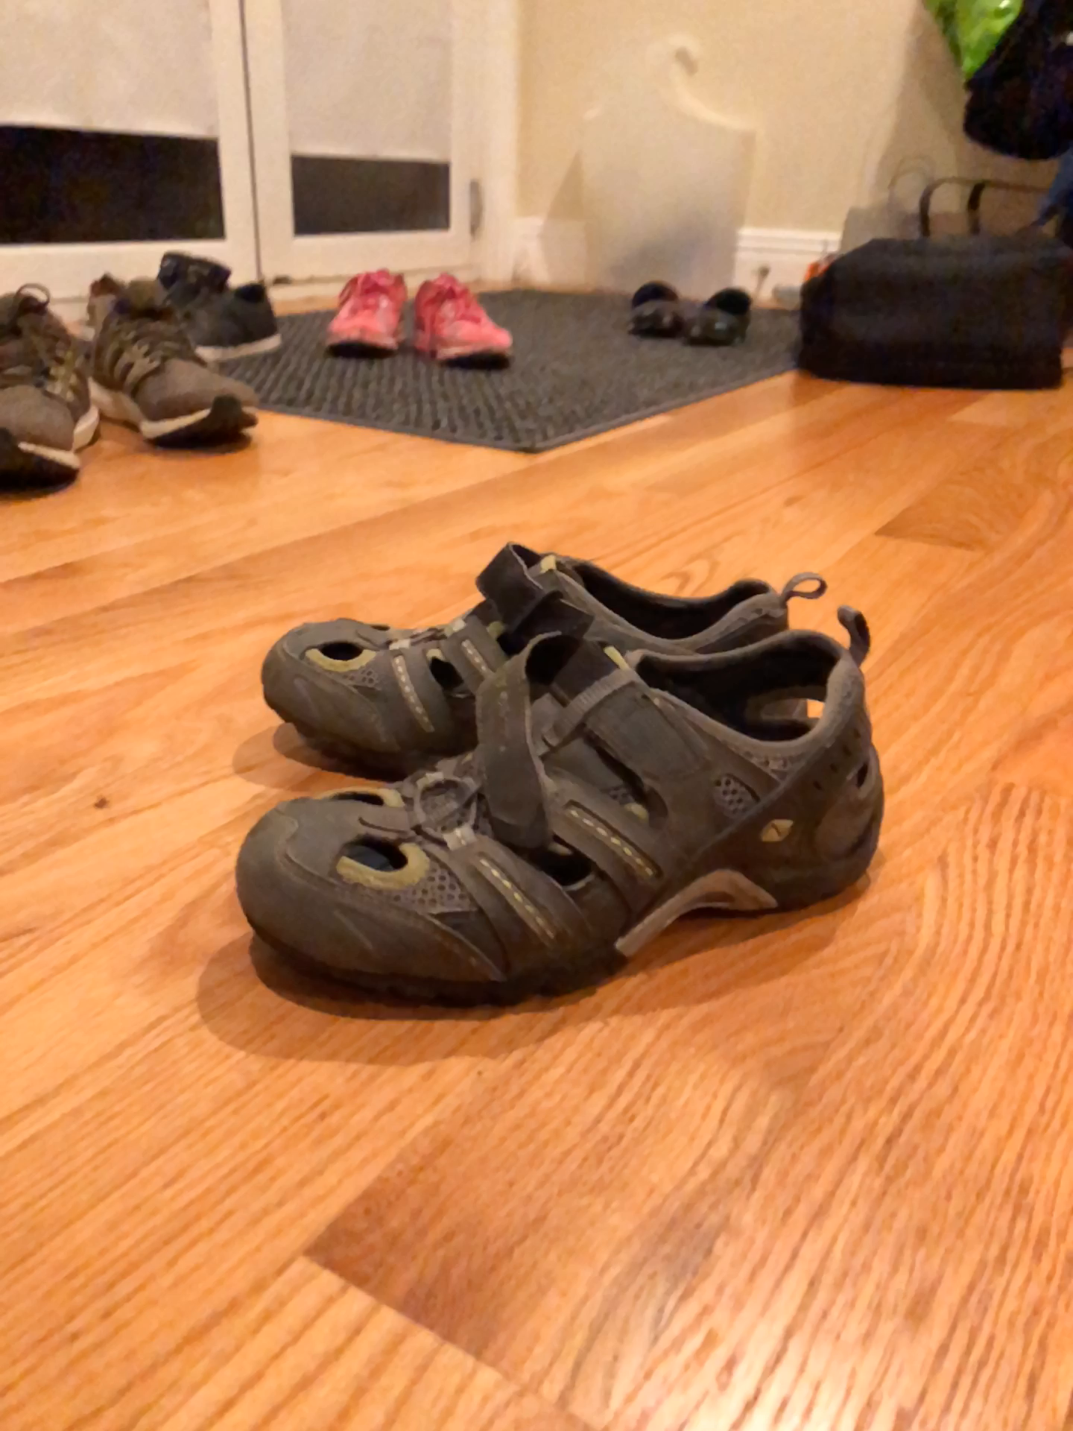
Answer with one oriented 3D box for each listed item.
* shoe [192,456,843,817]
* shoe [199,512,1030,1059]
[{"bbox_3d":[-0.006,-0.039,0.510,0.245,0.112,0.101,4,24,5],"label":"shoe"},{"bbox_3d":[0.025,0.008,0.399,0.245,0.112,0.101,-9,26,-22],"label":"shoe"}]
